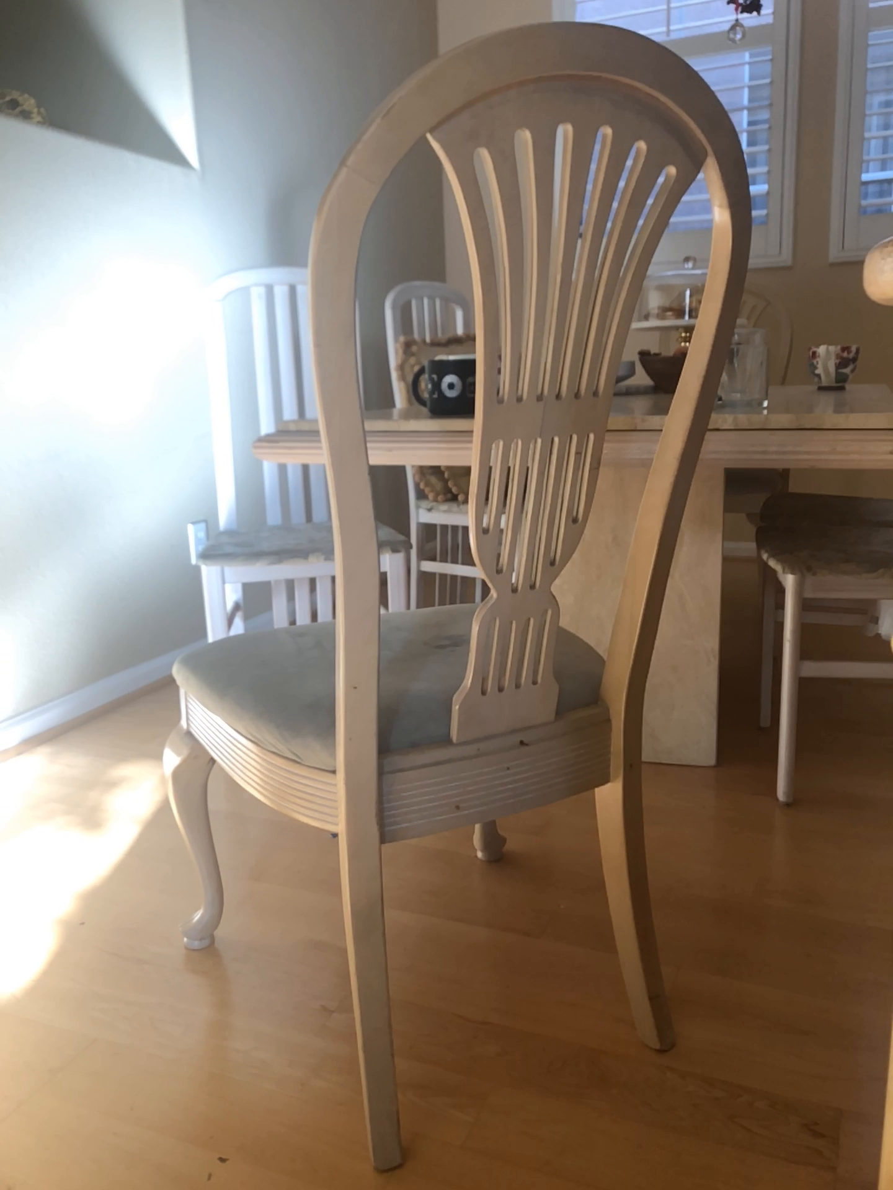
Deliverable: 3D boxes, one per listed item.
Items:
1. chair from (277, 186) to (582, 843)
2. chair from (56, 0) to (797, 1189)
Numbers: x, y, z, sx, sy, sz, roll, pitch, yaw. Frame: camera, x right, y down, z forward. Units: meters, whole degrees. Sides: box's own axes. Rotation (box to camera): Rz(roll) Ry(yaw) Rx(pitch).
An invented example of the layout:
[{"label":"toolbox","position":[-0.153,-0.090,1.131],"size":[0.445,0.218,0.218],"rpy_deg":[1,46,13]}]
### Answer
[{"label":"chair","position":[-0.064,-0.218,2.558],"size":[0.631,1.455,0.672],"rpy_deg":[-4,10,-8]},{"label":"chair","position":[-0.064,0.027,1.223],"size":[0.592,1.293,0.631],"rpy_deg":[-8,16,-26]}]
